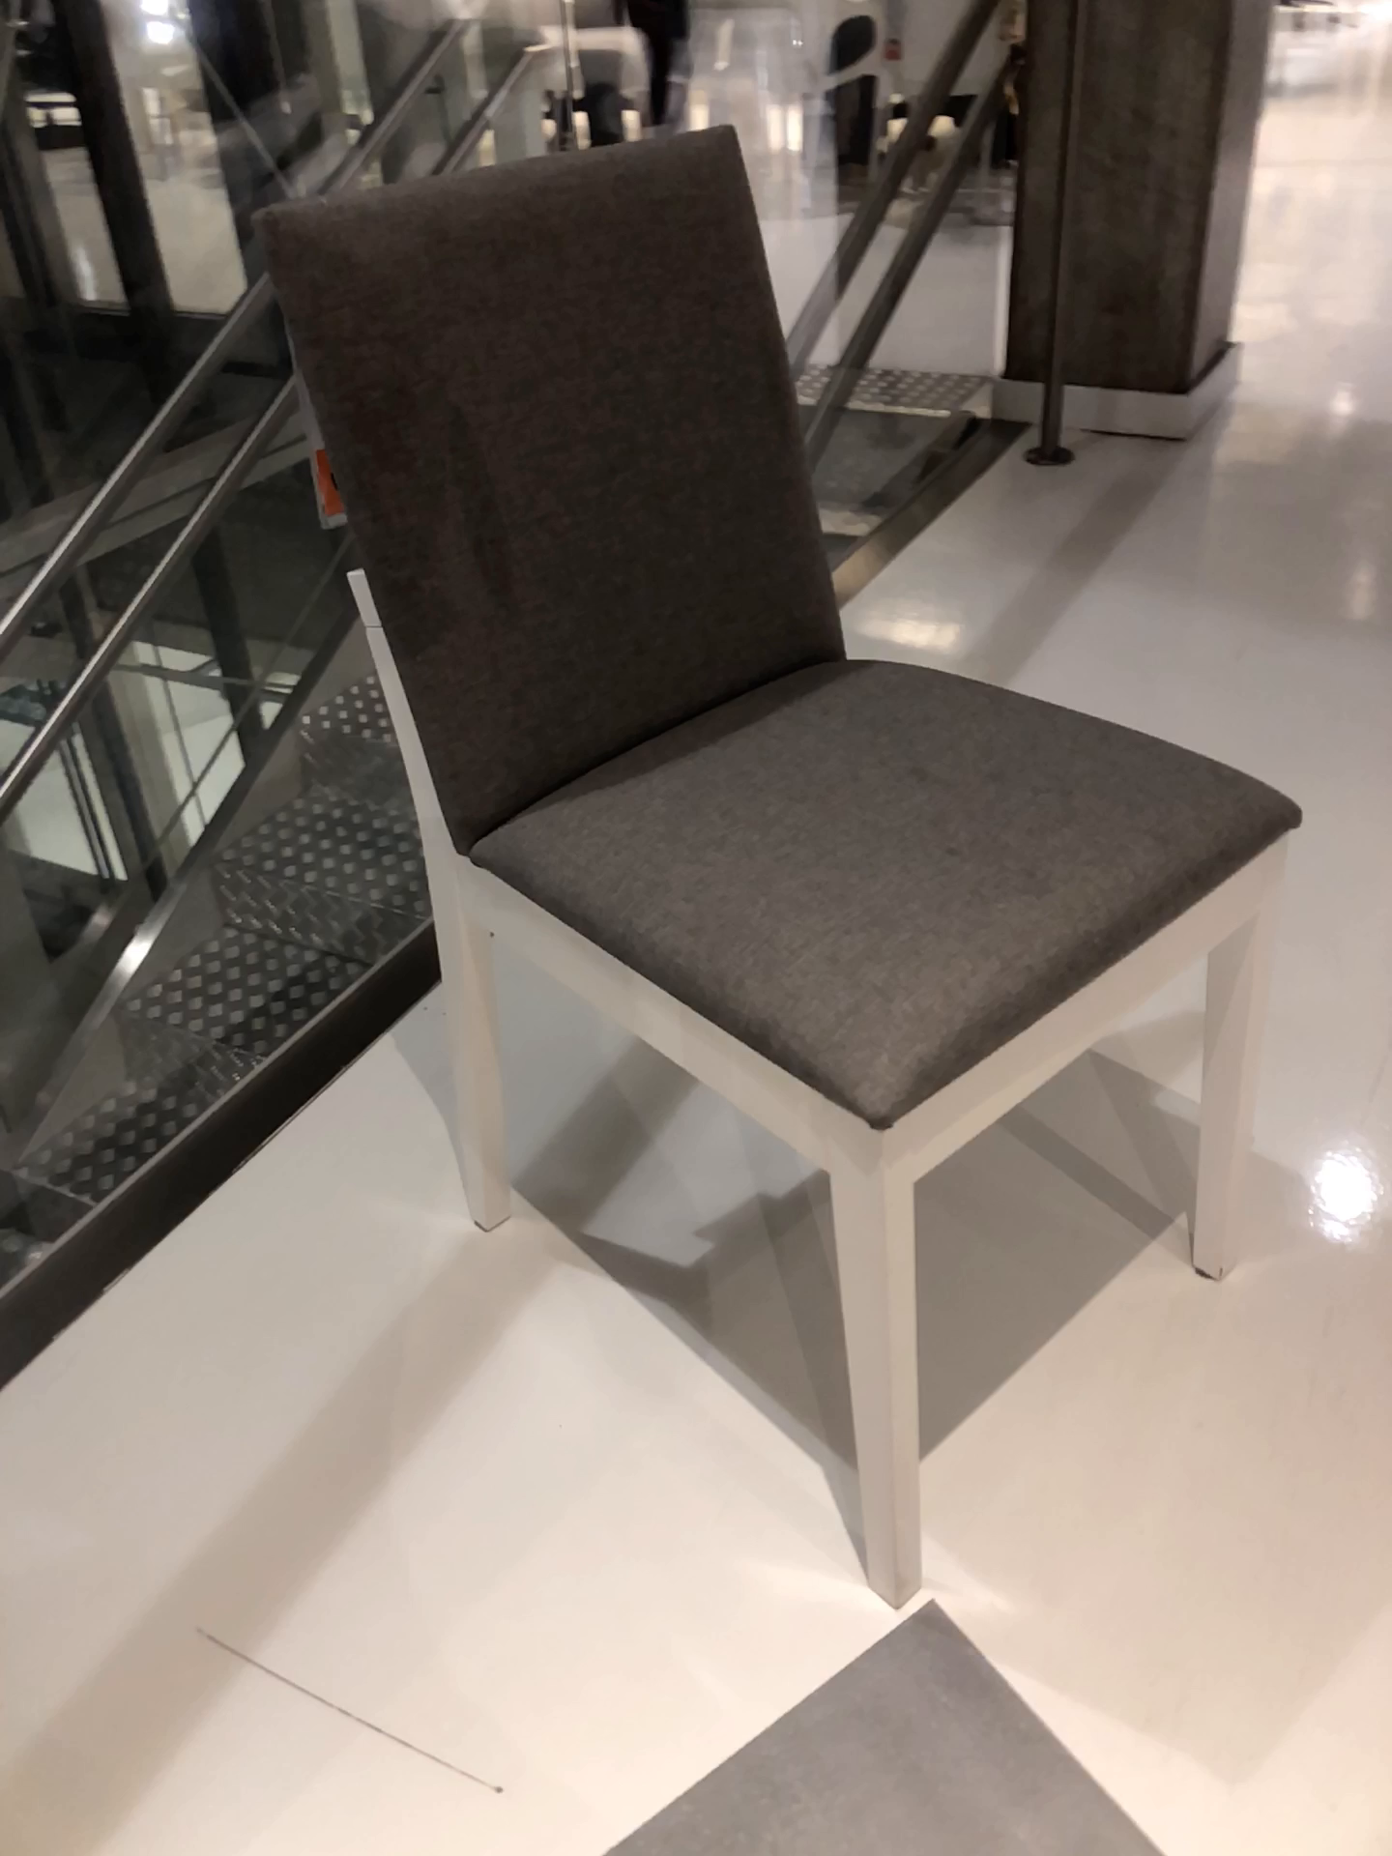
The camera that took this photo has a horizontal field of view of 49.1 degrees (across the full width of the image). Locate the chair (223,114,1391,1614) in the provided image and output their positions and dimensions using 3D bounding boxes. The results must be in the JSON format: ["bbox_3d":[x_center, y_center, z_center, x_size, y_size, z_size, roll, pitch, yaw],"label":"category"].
[{"bbox_3d":[0.098,-0.084,1.128,0.482,0.843,0.562,-29,41,-32],"label":"chair"}]
